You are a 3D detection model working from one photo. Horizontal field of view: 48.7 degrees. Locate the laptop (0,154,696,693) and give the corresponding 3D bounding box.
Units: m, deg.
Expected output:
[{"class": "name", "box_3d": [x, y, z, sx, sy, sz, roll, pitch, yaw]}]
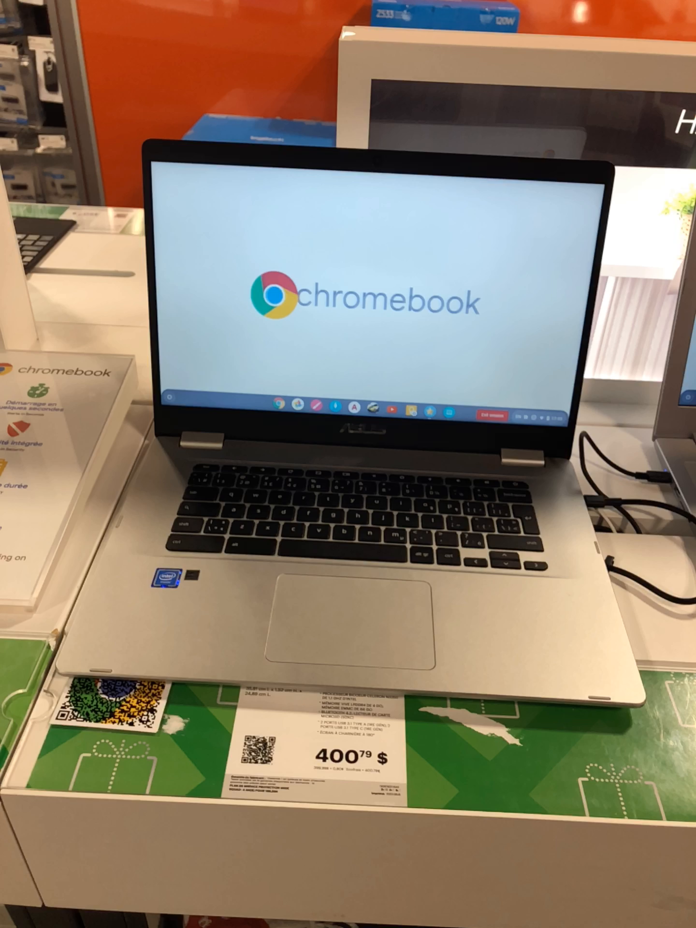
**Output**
[{"class": "laptop", "box_3d": [0.016, -0.045, 0.502, 0.337, 0.225, 0.287, 3, 36, 1]}]
